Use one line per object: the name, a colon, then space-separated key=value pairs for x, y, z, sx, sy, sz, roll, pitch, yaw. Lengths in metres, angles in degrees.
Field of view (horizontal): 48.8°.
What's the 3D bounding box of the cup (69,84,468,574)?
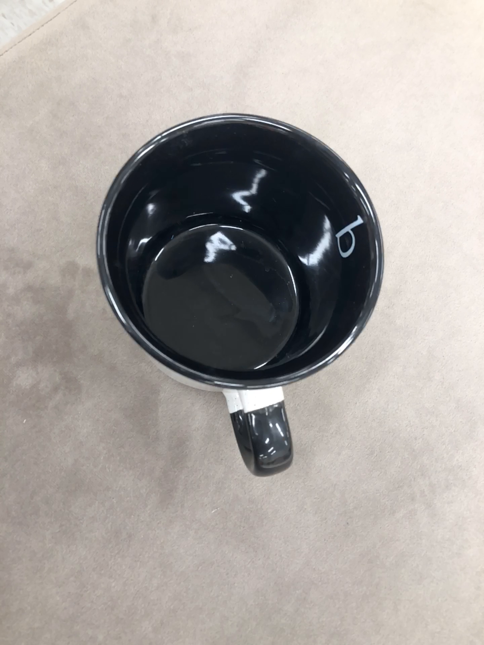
cup: x=0.002 y=0.001 z=0.225 sx=0.100 sy=0.090 sz=0.150 roll=-14 pitch=80 yaw=-11
